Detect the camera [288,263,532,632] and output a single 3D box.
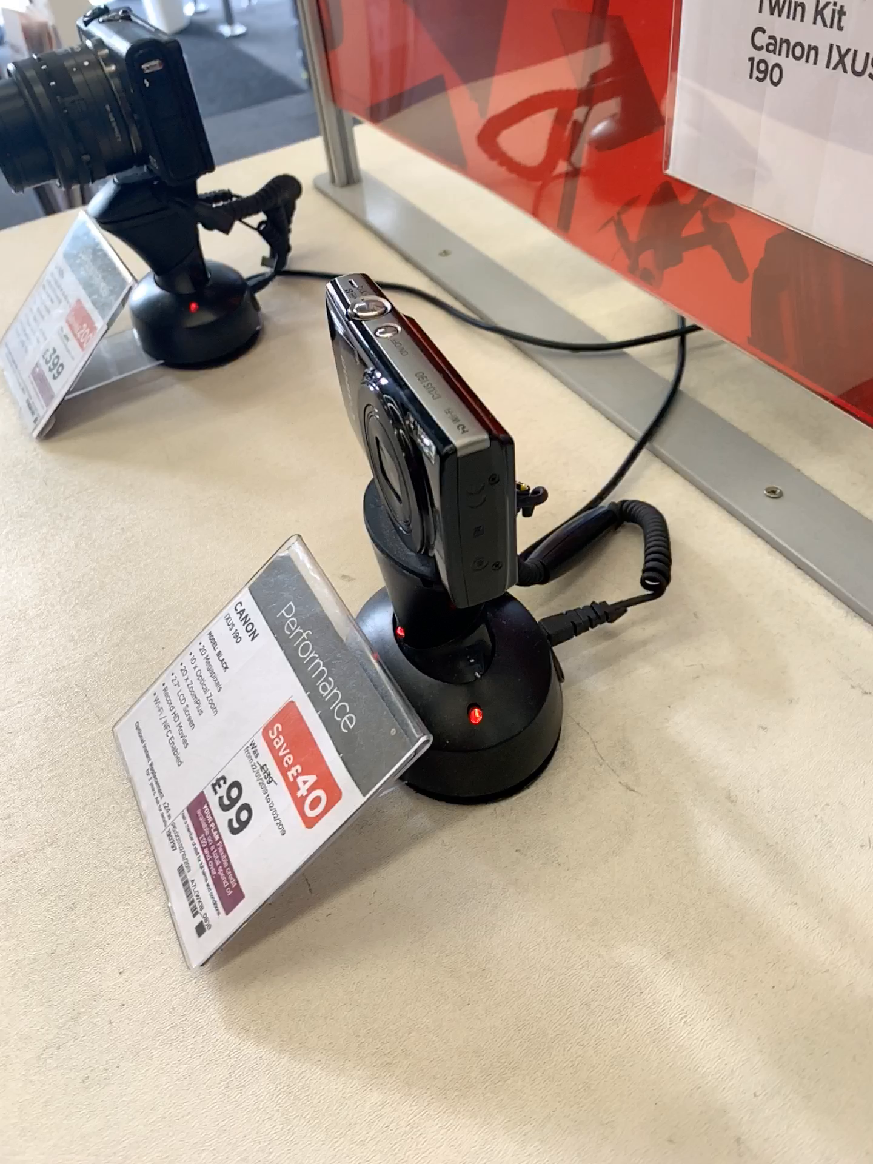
[{"bbox_3d":[-0.009,-0.041,0.250,0.030,0.050,0.101,-19,45,-11],"label":"camera"}]
